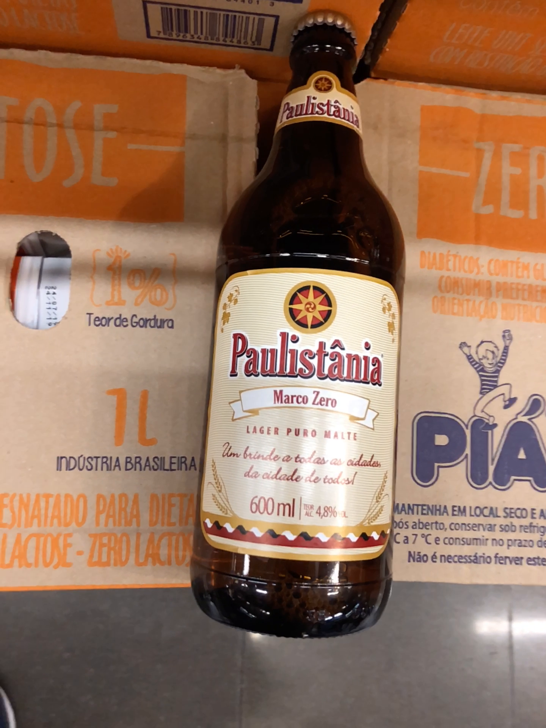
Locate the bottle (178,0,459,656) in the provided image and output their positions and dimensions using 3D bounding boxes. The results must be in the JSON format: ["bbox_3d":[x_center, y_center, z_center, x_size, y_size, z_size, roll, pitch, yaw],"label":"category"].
[{"bbox_3d":[0.017,-0.038,0.216,0.080,0.050,0.250,4,81,-6],"label":"bottle"}]
